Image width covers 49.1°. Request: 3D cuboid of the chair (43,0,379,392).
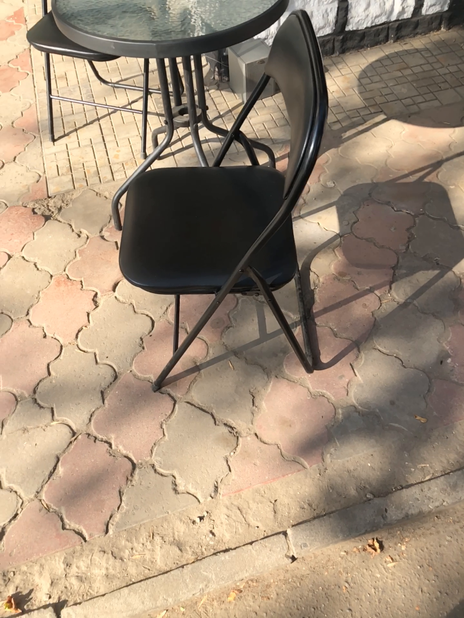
[{"bbox_3d":[-0.024,-0.272,1.363,0.570,0.837,0.582,-3,47,1],"label":"chair"}]
